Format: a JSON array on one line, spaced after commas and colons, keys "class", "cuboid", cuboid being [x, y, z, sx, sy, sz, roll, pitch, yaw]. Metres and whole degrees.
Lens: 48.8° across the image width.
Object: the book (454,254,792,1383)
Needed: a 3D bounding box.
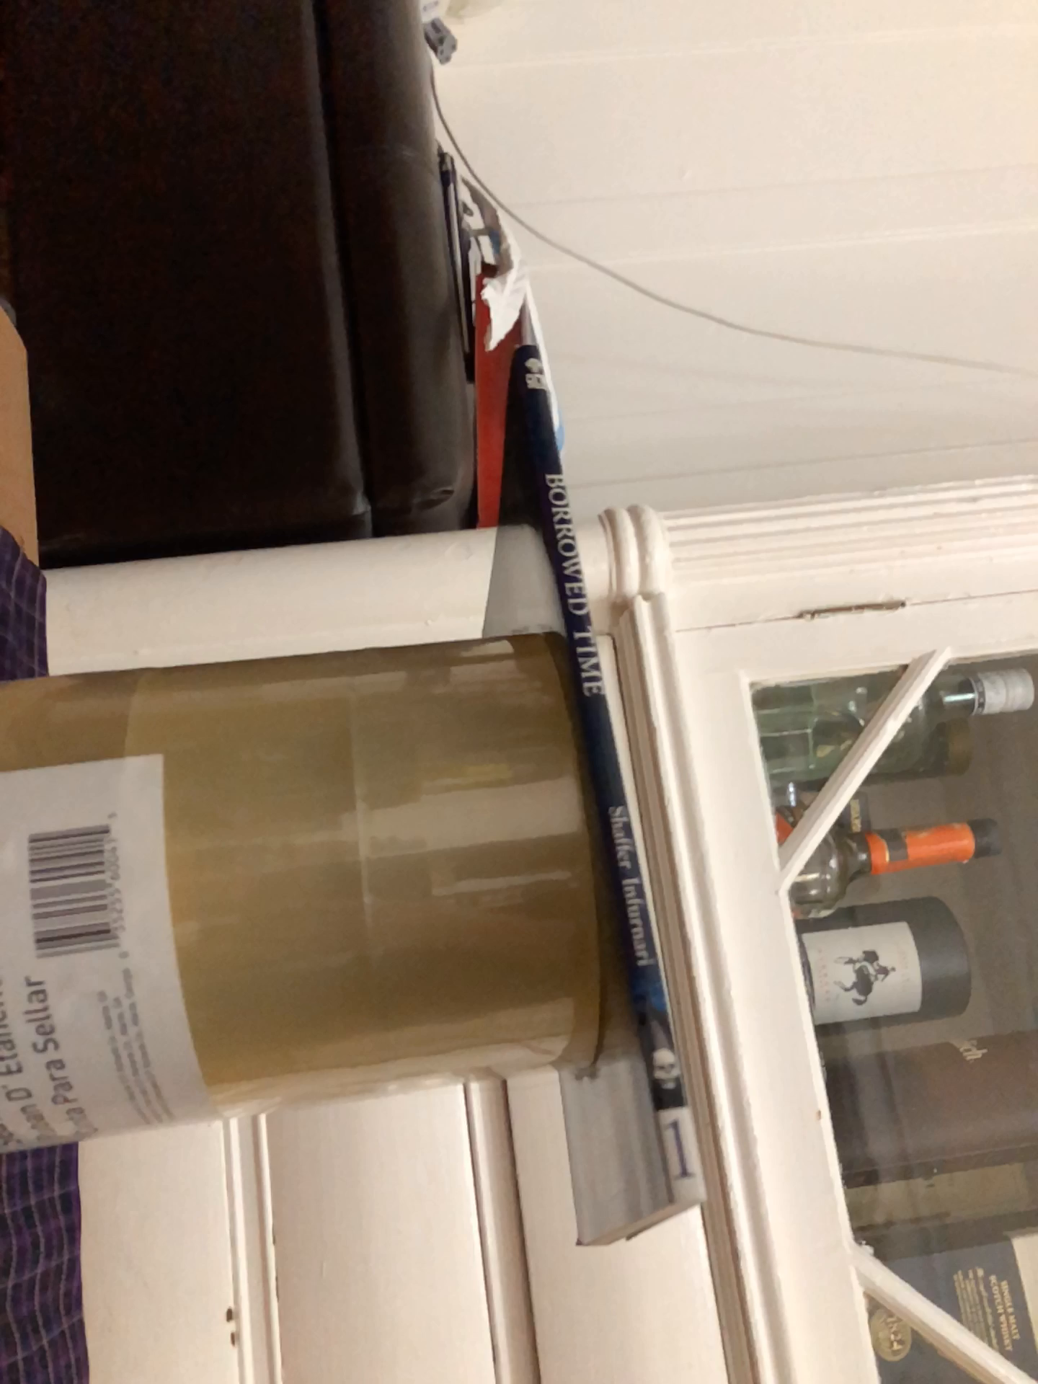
[{"class": "book", "cuboid": [0.008, 0.037, 0.279, 0.160, 0.010, 0.230, 94, -14, -60]}]
